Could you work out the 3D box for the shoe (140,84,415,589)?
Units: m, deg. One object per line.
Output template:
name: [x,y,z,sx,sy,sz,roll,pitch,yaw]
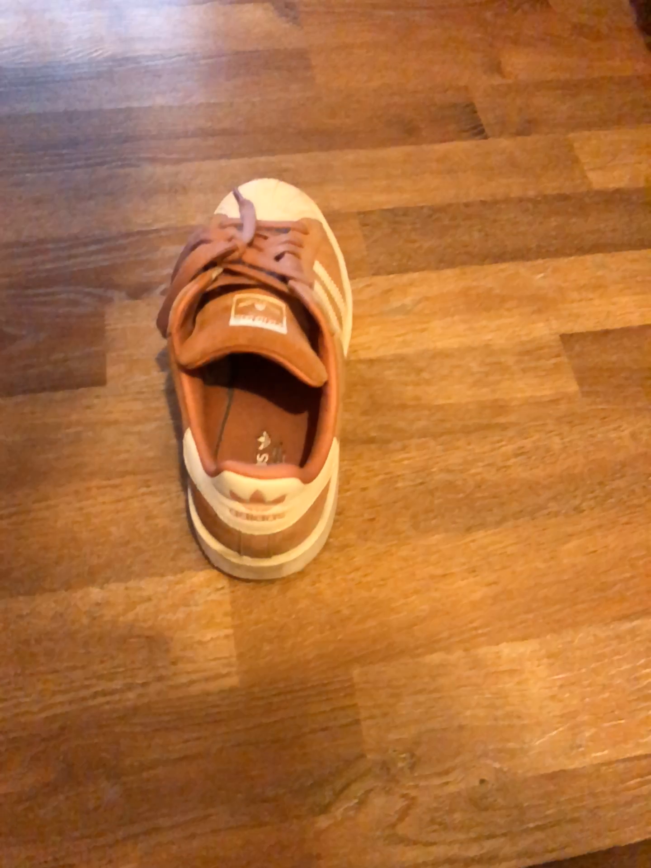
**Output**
shoe: [-0.029,-0.060,0.400,0.110,0.109,0.261,-1,61,-5]
